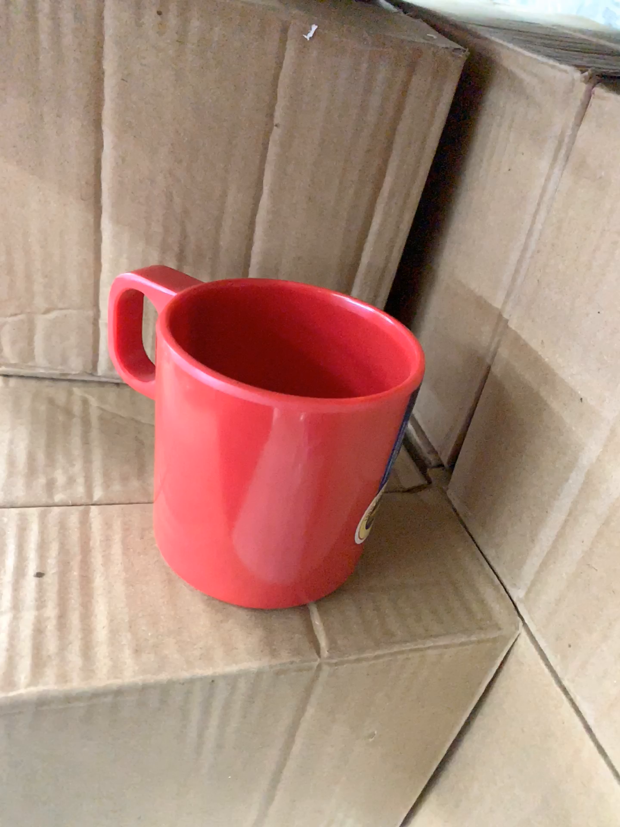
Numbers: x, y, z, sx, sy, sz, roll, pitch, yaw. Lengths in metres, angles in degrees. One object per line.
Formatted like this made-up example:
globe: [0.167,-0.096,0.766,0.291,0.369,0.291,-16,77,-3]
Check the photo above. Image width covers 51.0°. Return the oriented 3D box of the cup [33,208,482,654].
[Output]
cup: [-0.021,-0.004,0.207,0.110,0.079,0.070,30,38,26]
